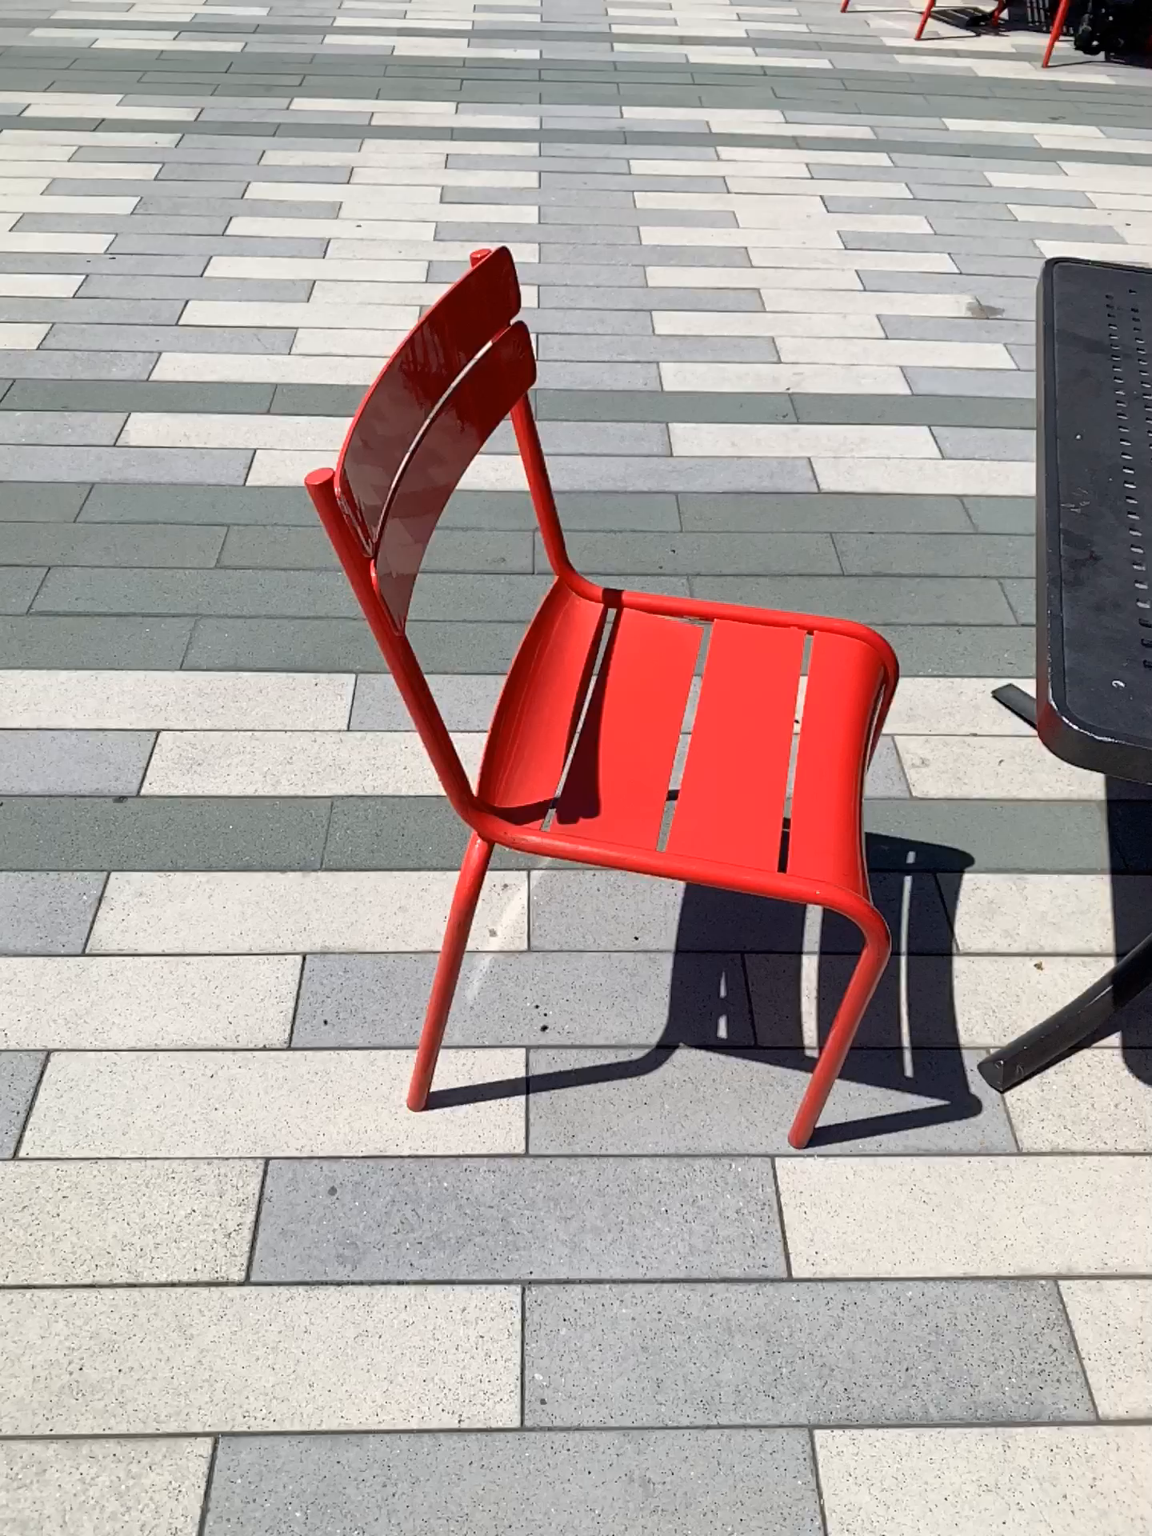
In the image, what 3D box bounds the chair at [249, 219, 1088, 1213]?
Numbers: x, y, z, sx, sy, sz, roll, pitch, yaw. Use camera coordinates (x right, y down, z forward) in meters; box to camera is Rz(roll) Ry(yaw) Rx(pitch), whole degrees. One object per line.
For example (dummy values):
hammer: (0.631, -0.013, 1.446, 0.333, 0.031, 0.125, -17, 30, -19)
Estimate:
chair: (0.088, -0.032, 1.308, 0.580, 0.846, 0.583, 10, 45, 6)
